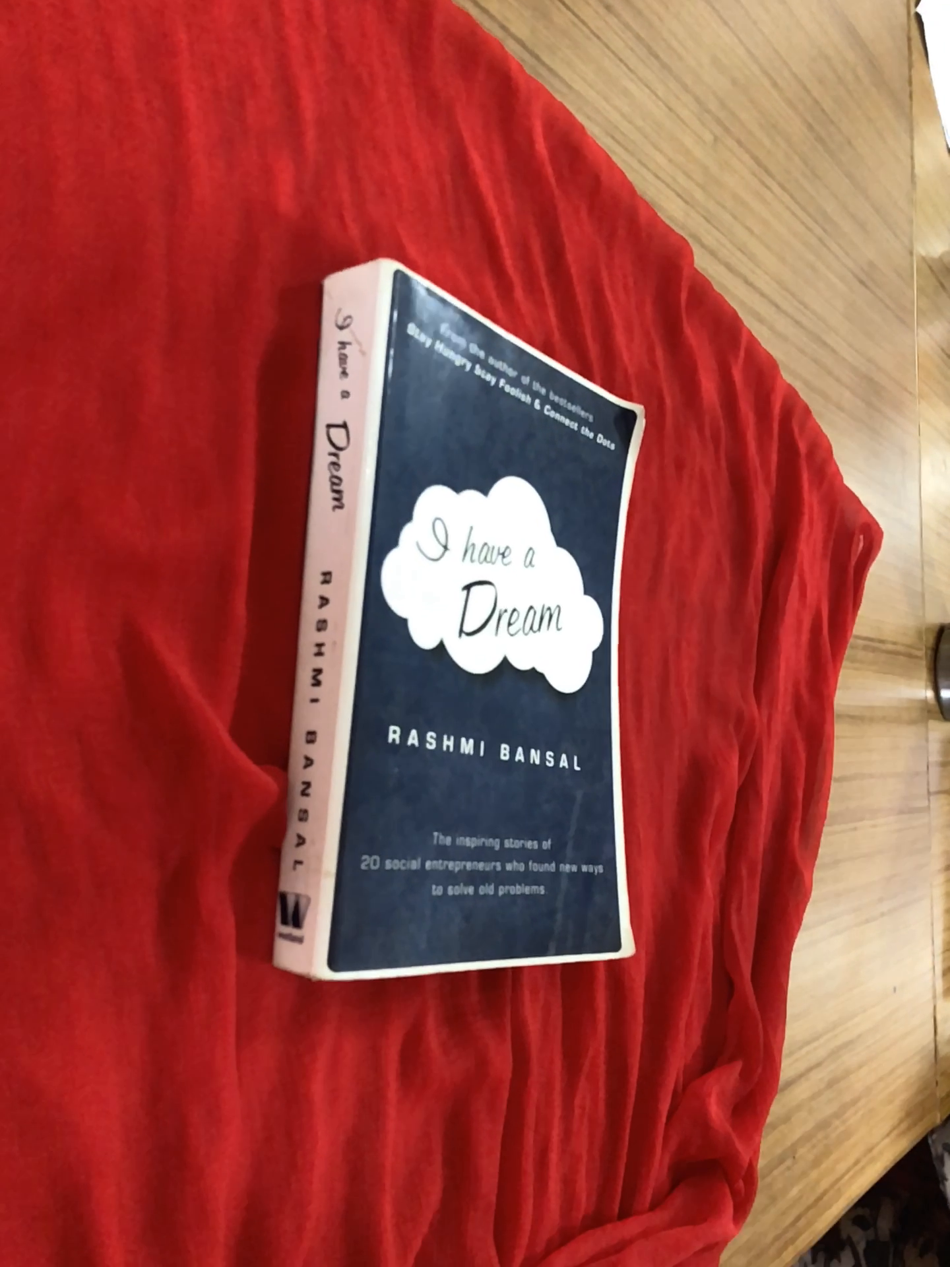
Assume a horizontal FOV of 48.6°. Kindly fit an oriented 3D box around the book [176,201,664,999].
[{"bbox_3d":[-0.004,0.000,0.309,0.141,0.040,0.190,14,76,-45],"label":"book"}]
